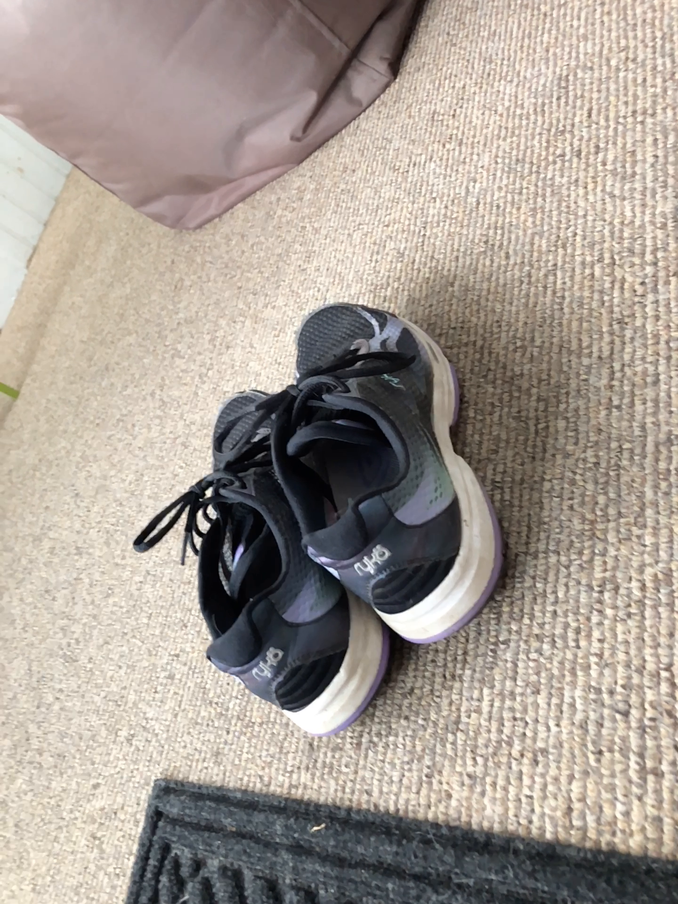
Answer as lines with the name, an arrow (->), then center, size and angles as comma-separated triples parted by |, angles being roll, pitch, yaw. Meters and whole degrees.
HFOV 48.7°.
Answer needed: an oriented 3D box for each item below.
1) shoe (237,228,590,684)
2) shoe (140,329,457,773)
shoe -> 0.027, -0.011, 0.456 | 0.102, 0.103, 0.258 | -40, 40, 20
shoe -> -0.043, 0.050, 0.486 | 0.110, 0.103, 0.258 | -43, 39, 17
